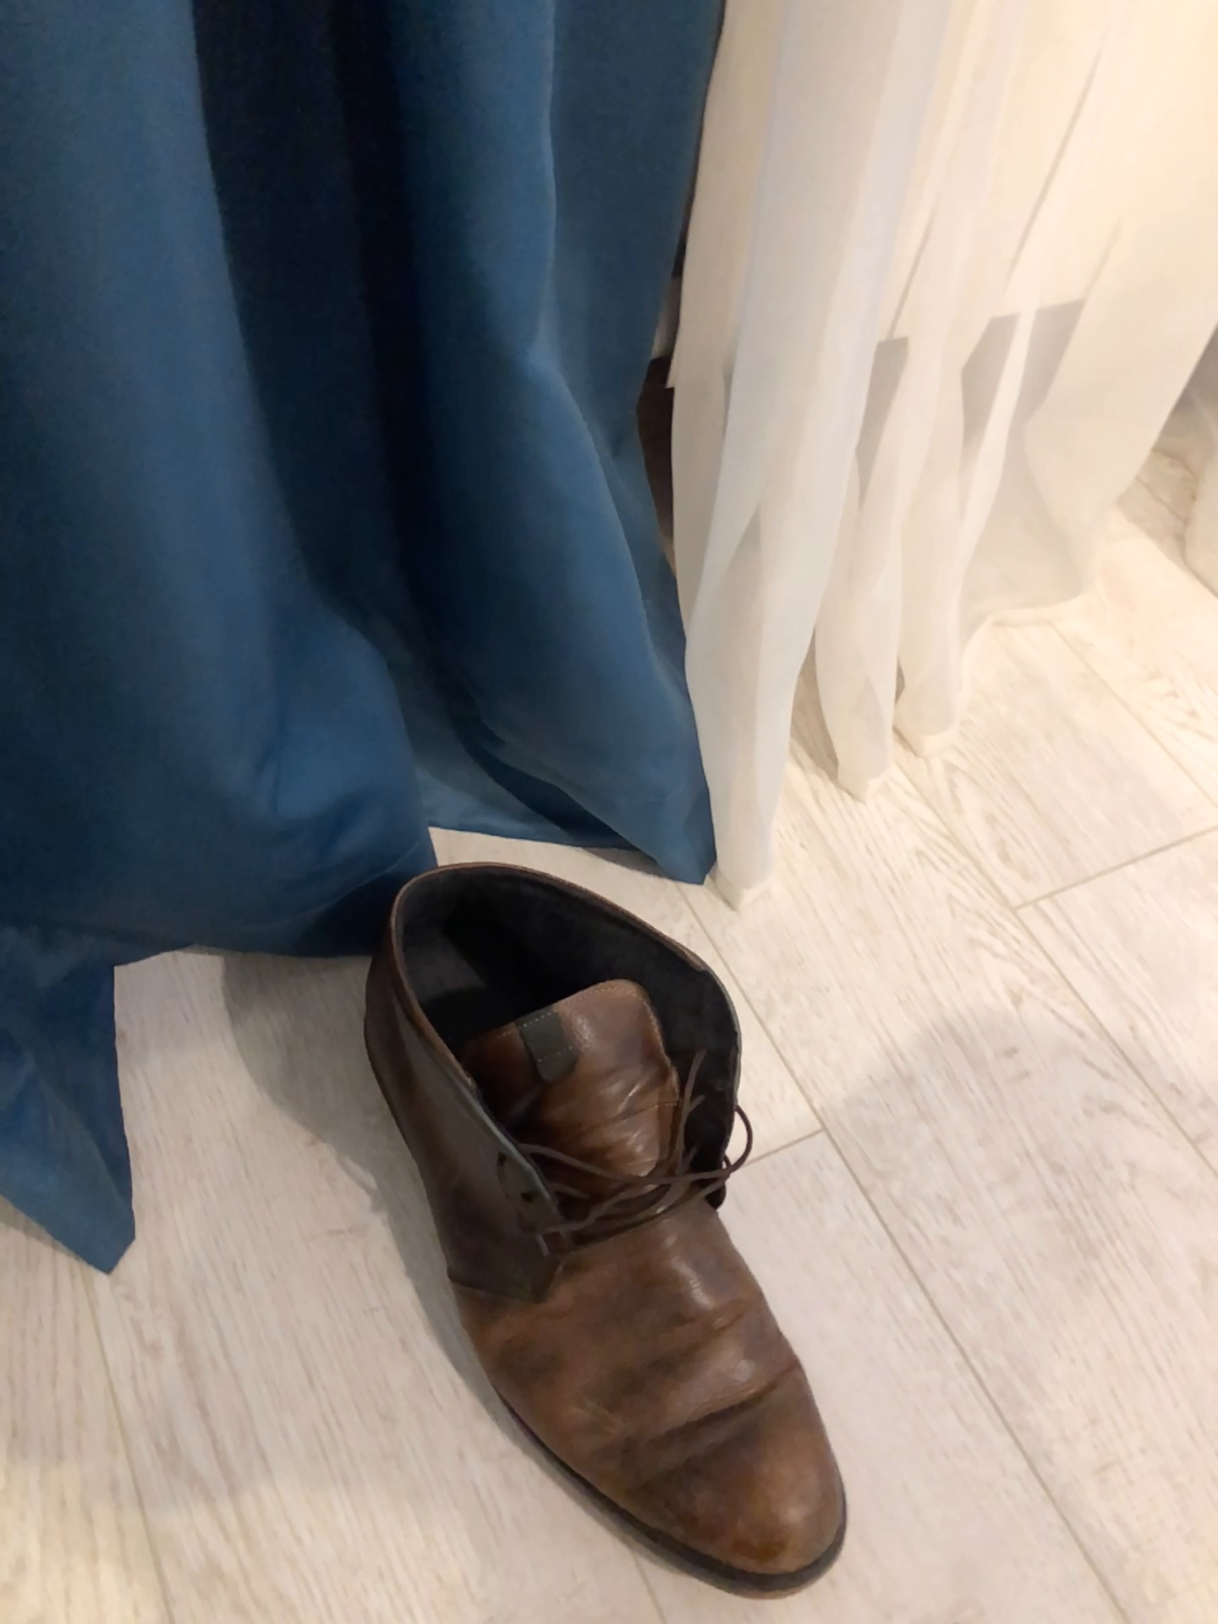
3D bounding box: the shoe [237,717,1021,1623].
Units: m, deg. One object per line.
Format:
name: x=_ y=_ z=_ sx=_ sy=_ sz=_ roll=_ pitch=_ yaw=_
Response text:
shoe: x=-0.016 y=0.143 z=0.537 sx=0.130 sy=0.159 sz=0.321 roll=-23 pitch=57 yaw=-23
